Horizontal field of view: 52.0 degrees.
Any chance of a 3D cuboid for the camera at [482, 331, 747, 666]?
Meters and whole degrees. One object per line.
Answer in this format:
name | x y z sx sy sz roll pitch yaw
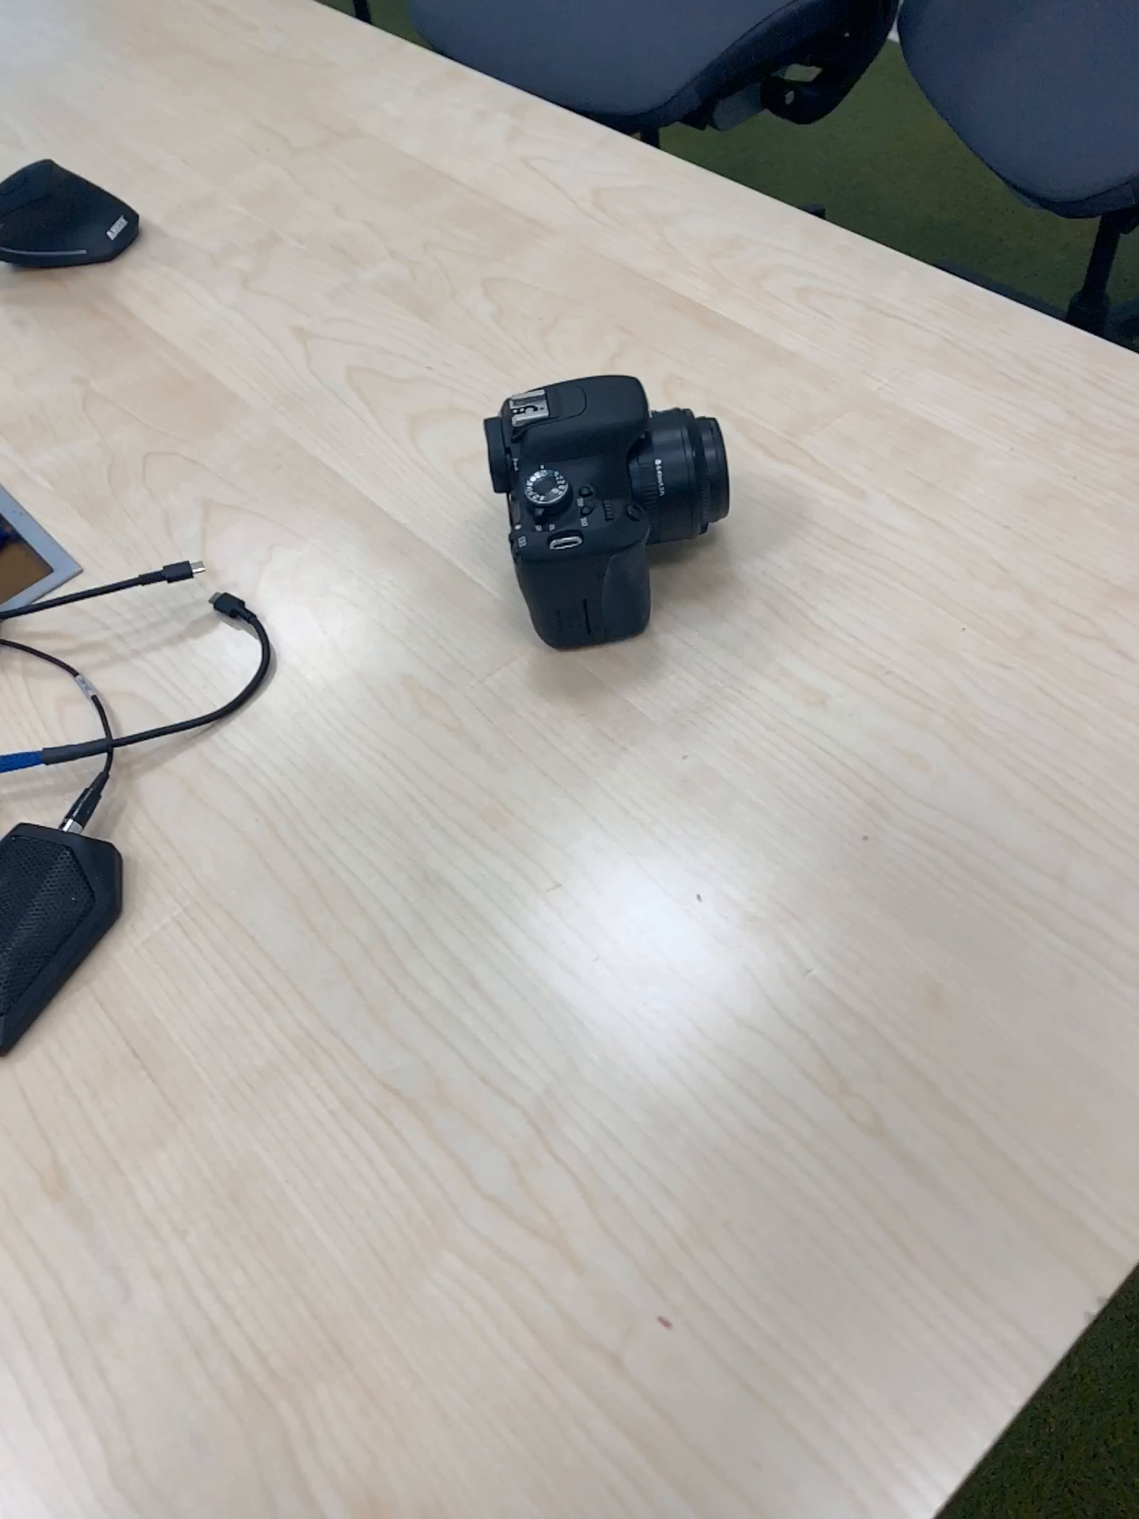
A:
camera | 0.024 -0.142 0.637 0.118 0.100 0.130 -9 53 1
